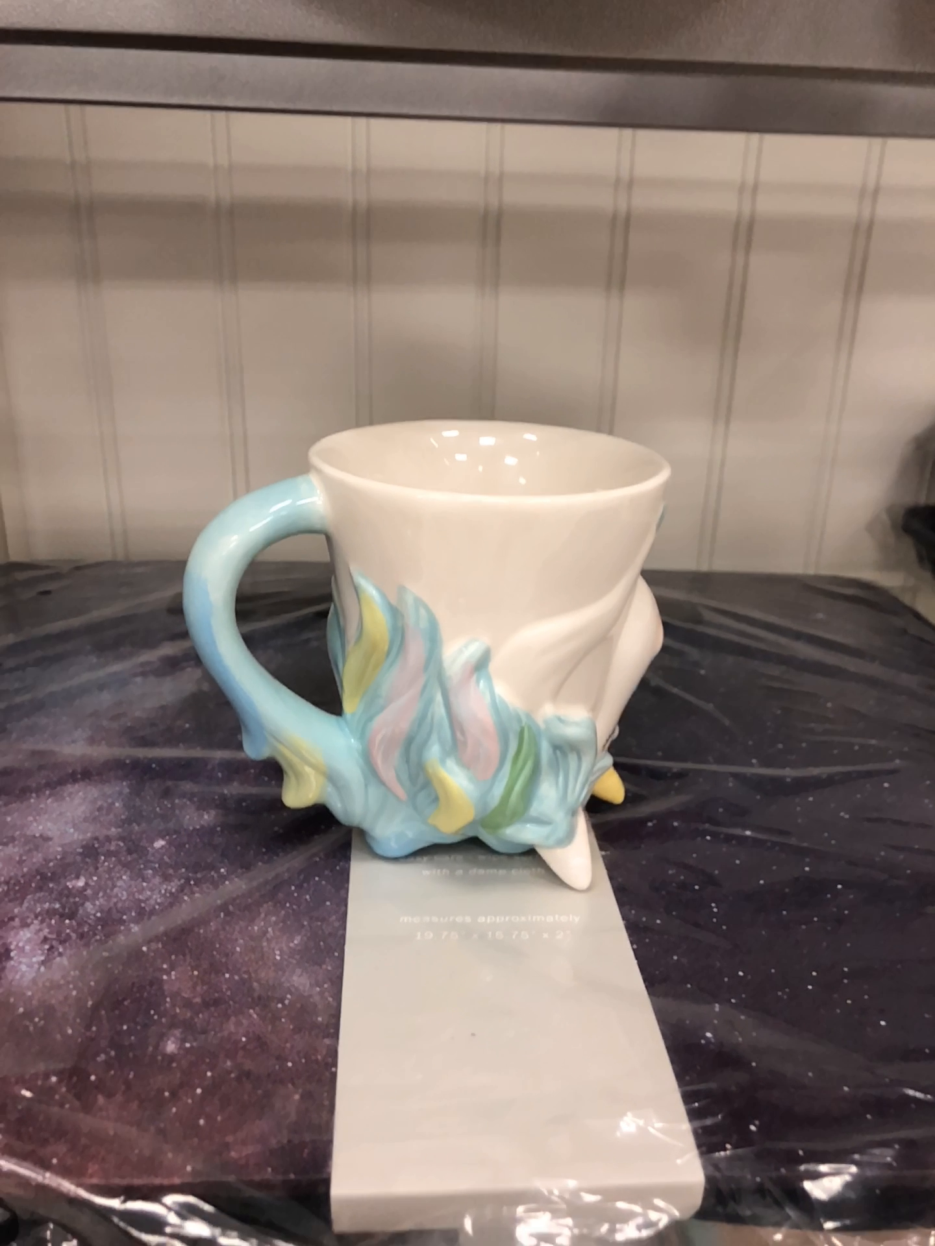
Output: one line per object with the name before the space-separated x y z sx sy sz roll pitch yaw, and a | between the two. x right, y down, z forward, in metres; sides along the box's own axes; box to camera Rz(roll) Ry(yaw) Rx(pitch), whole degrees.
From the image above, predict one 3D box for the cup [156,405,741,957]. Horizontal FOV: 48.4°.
cup | -0.014 0.006 0.308 0.140 0.118 0.101 -5 23 -15
